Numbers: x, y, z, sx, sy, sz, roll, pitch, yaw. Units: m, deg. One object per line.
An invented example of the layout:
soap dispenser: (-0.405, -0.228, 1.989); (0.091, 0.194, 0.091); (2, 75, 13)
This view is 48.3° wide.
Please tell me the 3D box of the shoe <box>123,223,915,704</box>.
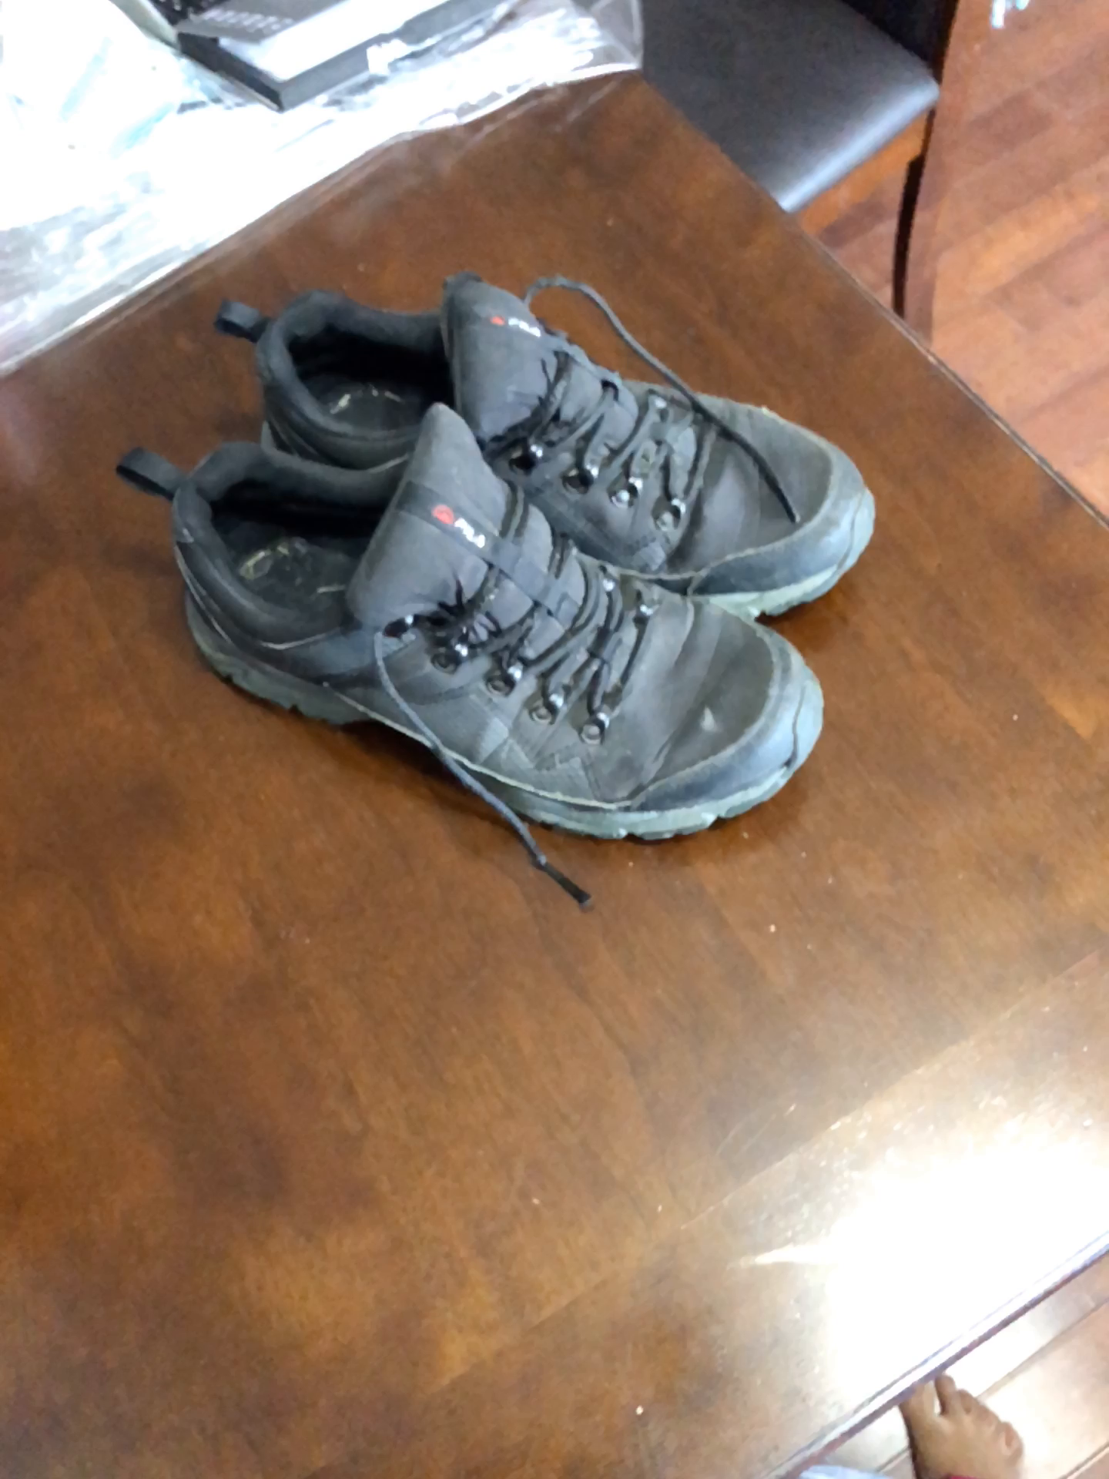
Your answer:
shoe: (-0.010, -0.130, 0.592); (0.320, 0.150, 0.120); (10, 66, 12)

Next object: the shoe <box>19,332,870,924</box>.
shoe: (-0.040, -0.048, 0.564); (0.320, 0.170, 0.120); (17, 68, 15)
